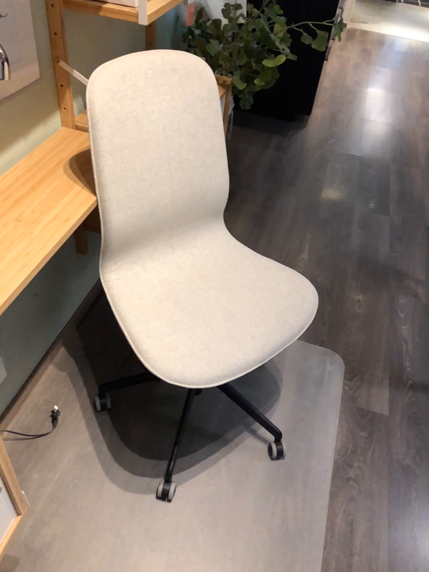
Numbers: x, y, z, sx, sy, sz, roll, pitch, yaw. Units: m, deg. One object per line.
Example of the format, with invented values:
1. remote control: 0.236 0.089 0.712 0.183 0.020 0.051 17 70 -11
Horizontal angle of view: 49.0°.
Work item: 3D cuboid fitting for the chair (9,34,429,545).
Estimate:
1. chair: 0.007 -0.007 1.159 0.622 0.904 0.653 -23 51 -29
